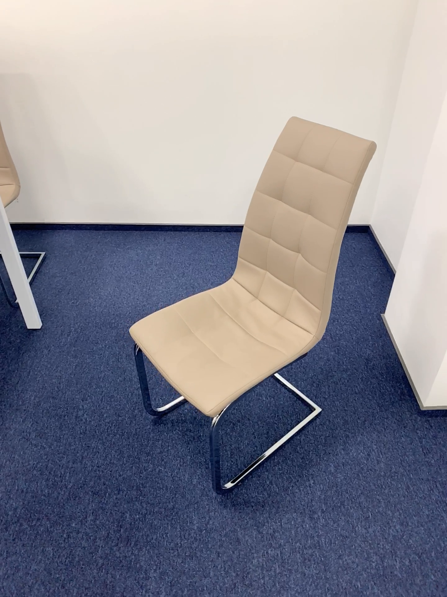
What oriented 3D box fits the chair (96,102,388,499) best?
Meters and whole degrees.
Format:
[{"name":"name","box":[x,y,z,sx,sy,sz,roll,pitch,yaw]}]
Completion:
[{"name":"chair","box":[0.042,0.018,1.374,0.531,0.984,0.441,-26,45,-30]}]
